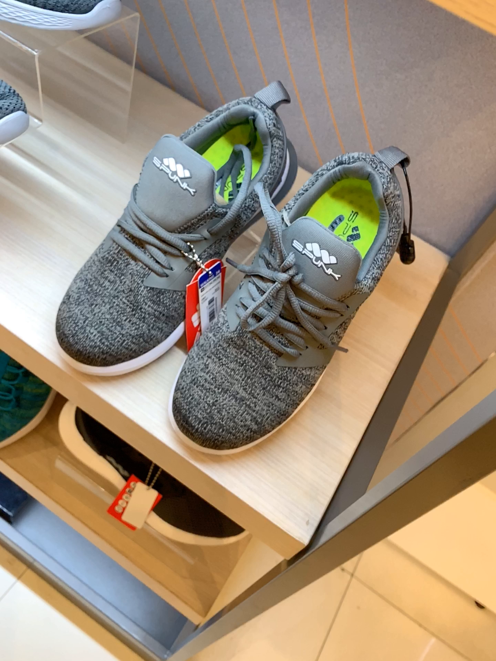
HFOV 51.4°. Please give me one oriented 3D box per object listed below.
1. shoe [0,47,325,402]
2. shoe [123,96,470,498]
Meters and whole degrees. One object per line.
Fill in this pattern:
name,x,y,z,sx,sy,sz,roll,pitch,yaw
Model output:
shoe,-0.052,-0.070,0.372,0.080,0.080,0.240,38,84,12
shoe,0.033,-0.021,0.354,0.090,0.080,0.240,35,88,7
